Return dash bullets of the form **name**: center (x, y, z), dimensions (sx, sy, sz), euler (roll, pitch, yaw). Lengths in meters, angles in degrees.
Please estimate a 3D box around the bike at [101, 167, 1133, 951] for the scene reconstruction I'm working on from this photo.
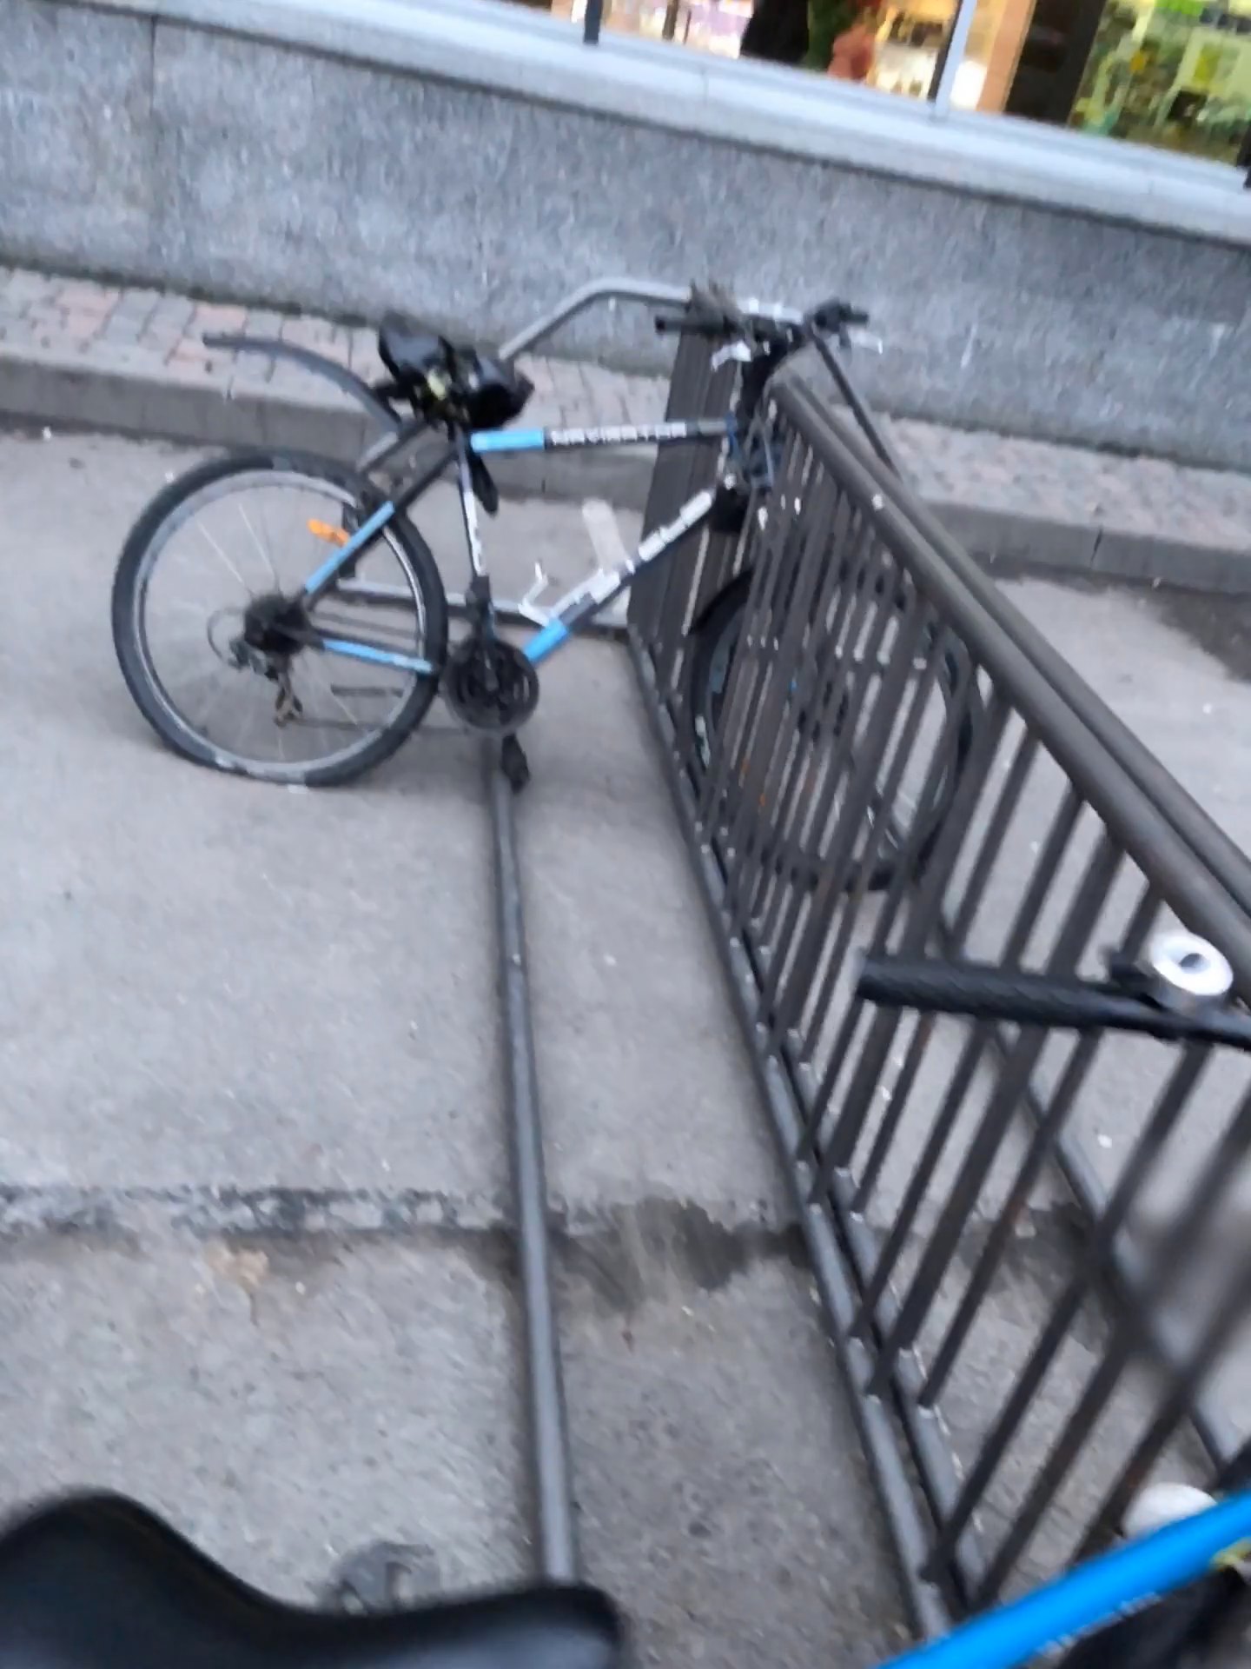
- **bike**: center (-0.124, -0.539, 2.536), dimensions (1.584, 1.051, 0.537), euler (14, 30, 9)
